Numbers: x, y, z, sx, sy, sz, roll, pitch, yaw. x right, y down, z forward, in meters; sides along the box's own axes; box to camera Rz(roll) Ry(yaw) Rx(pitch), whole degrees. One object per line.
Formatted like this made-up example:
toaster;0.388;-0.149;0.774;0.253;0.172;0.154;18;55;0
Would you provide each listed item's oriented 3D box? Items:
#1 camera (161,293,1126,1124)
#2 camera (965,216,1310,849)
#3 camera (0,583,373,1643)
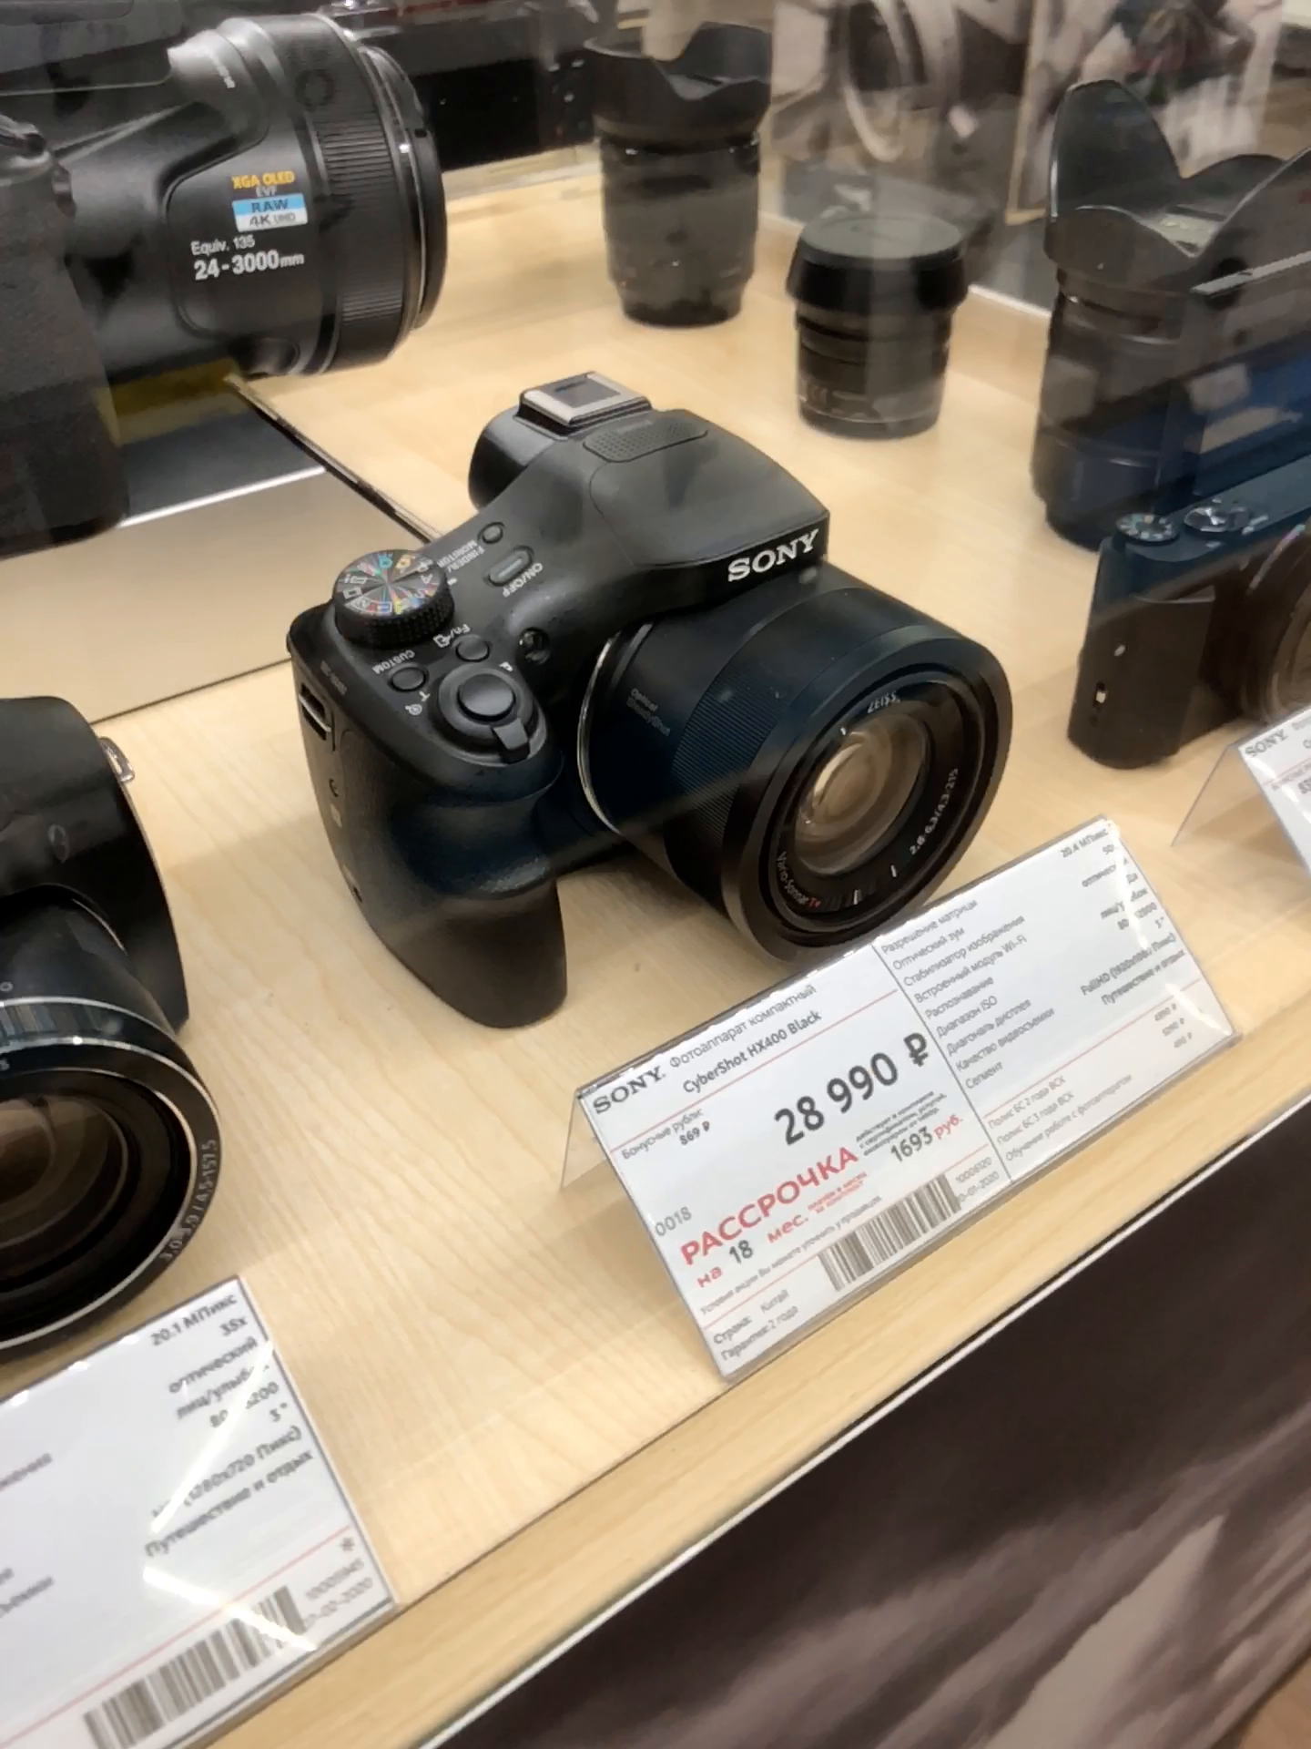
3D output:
camera;-0.002;-0.043;0.286;0.137;0.086;0.104;-26;45;-27
camera;0.149;-0.088;0.365;0.125;0.113;0.056;-26;45;-27
camera;-0.126;0.024;0.225;0.122;0.073;0.097;-26;45;-27
